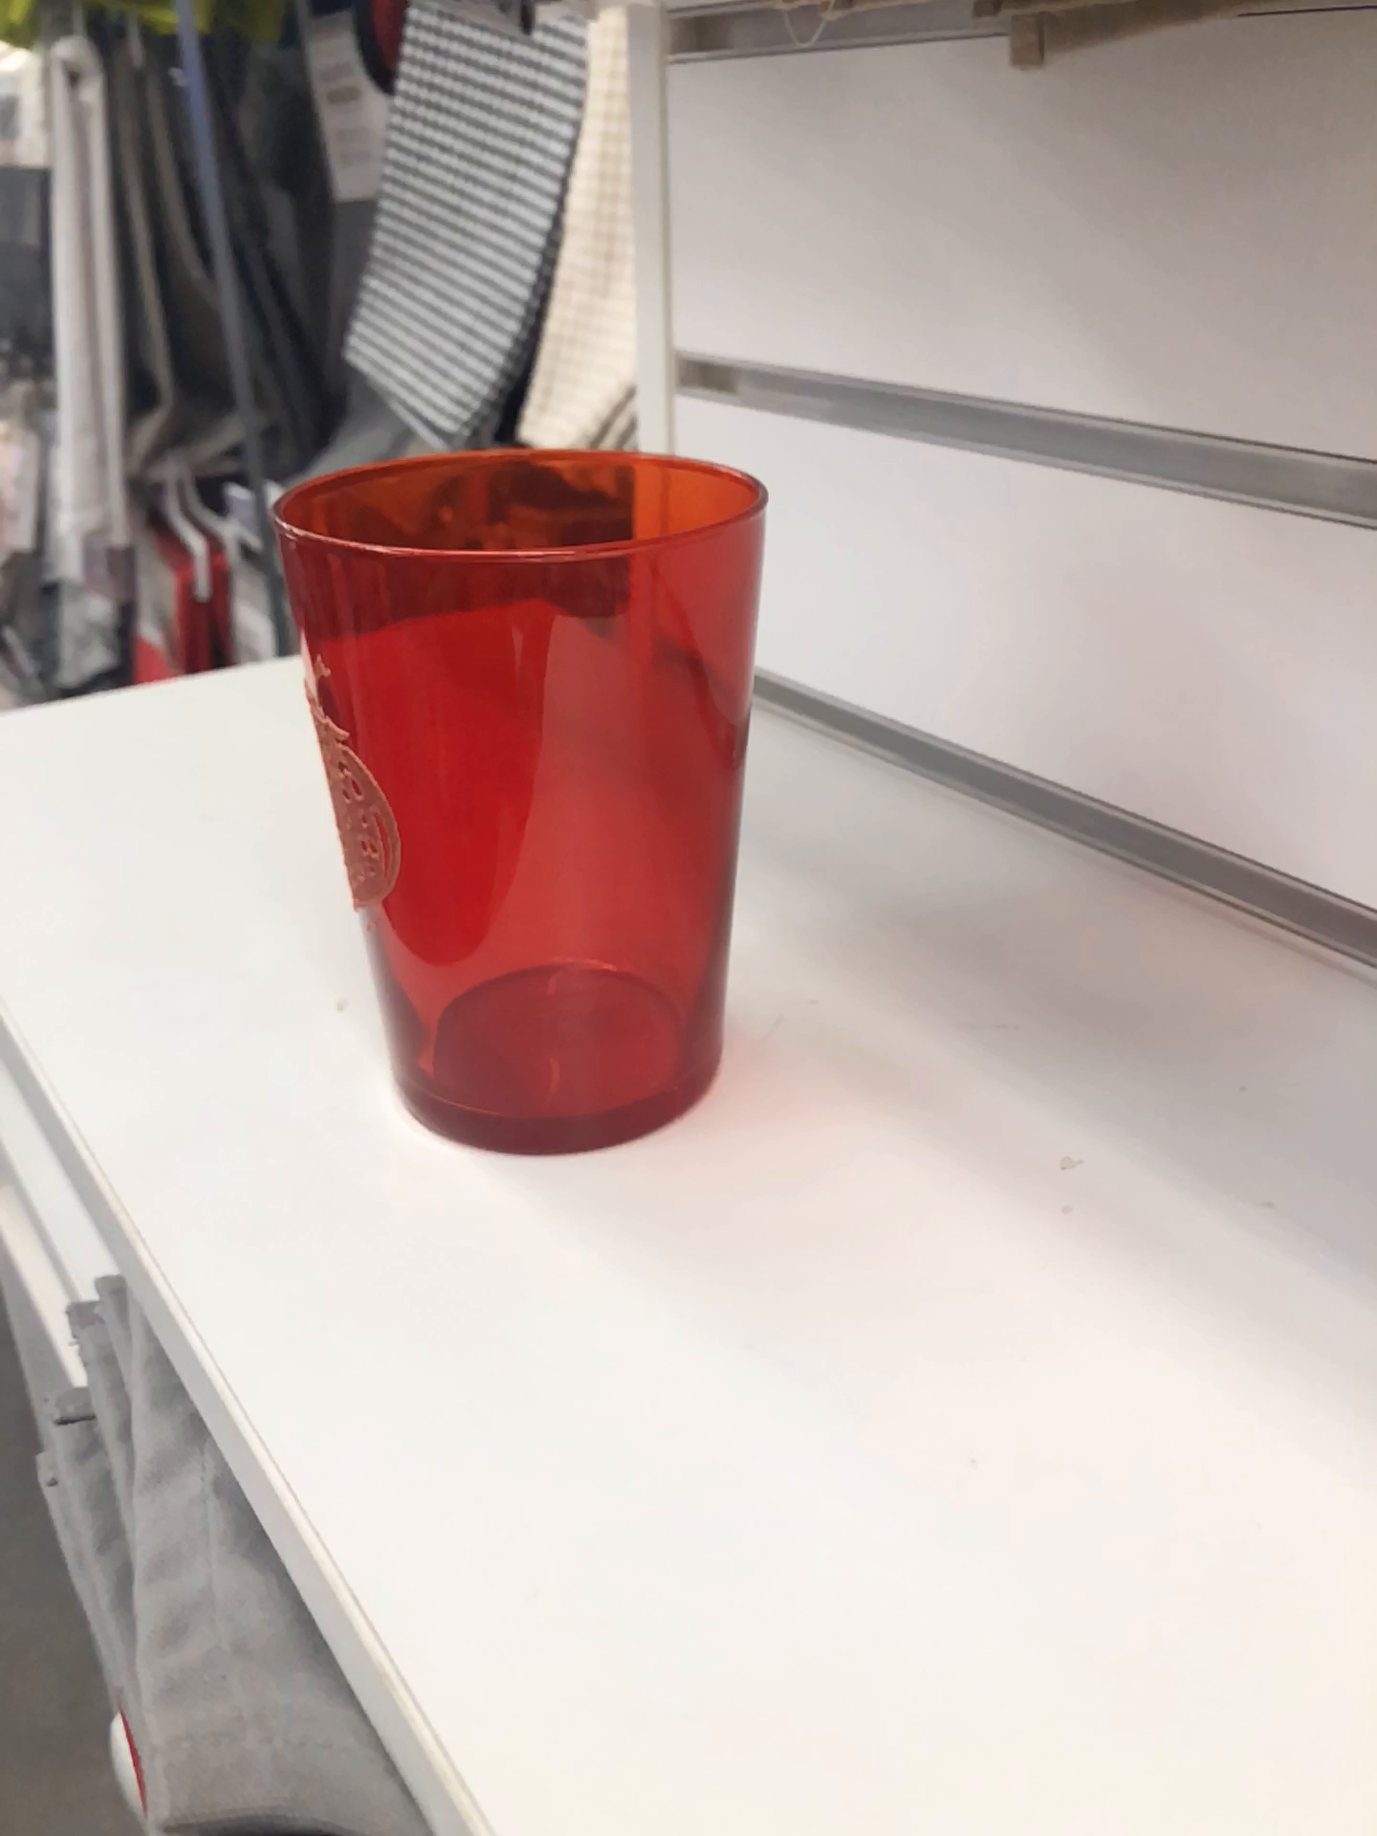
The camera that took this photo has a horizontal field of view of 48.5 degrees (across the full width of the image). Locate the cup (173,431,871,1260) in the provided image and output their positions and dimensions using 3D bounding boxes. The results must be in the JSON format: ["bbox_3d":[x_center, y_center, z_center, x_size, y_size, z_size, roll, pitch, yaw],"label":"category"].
[{"bbox_3d":[-0.032,-0.023,0.300,0.091,0.121,0.091,0,26,0],"label":"cup"}]
